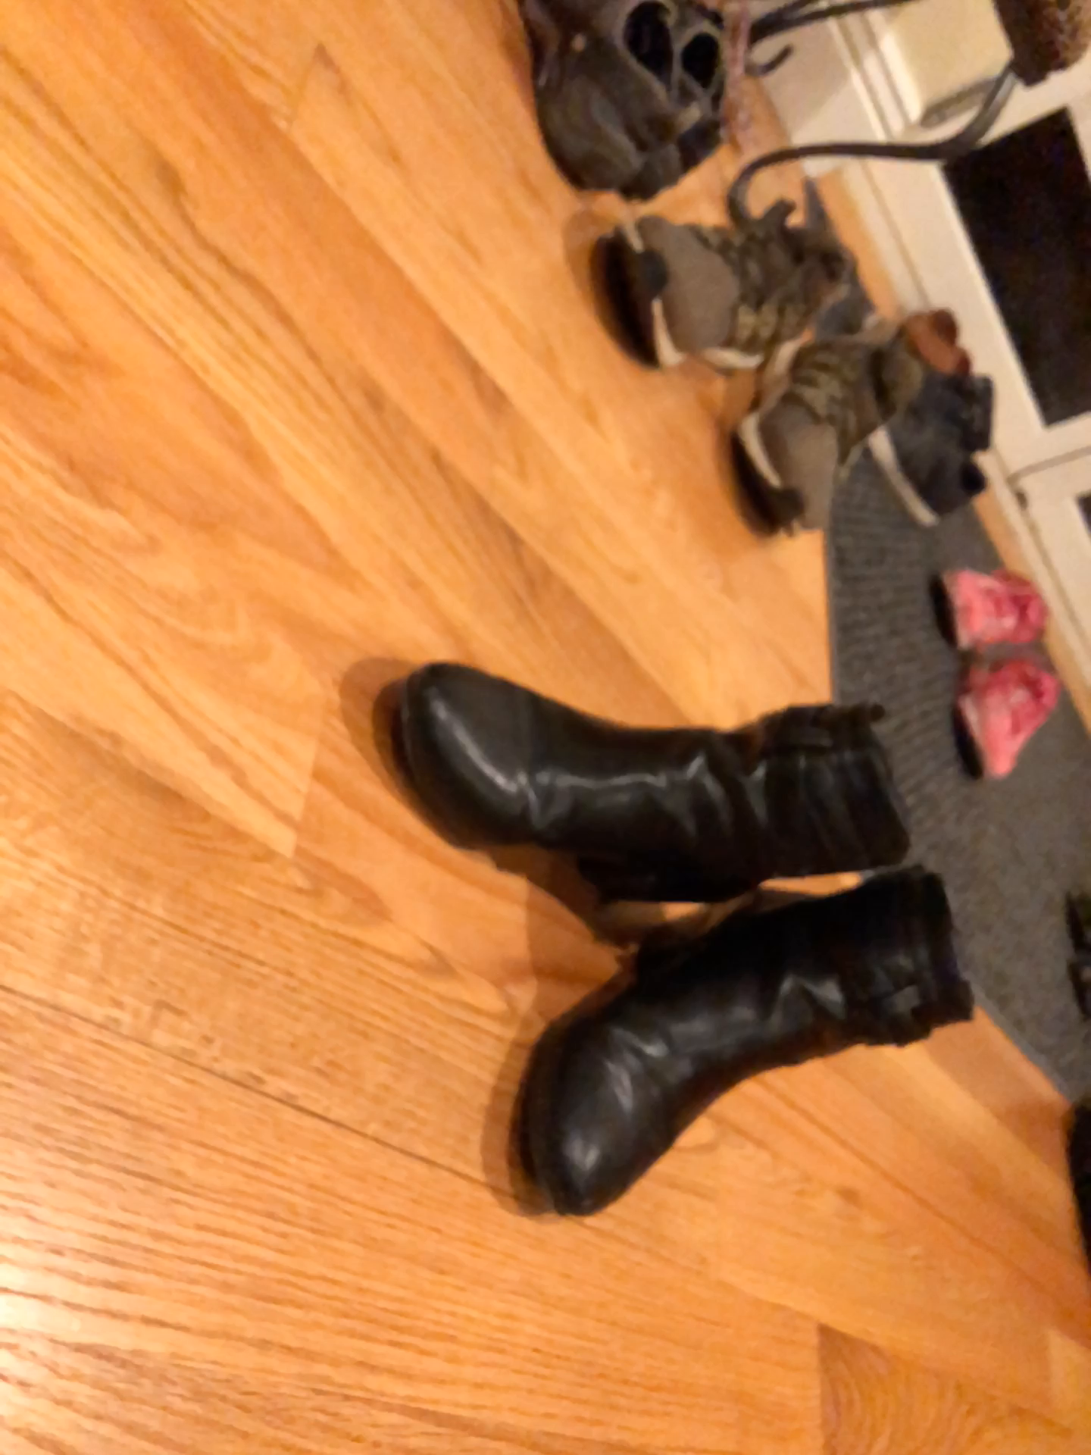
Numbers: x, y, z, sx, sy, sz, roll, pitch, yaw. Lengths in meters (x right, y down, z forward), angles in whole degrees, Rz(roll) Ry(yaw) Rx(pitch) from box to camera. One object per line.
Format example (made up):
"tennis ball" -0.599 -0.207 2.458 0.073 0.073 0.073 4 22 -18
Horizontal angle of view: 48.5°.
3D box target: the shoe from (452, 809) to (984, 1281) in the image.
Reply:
"shoe" 0.096 0.142 0.576 0.227 0.172 0.090 -39 110 -58

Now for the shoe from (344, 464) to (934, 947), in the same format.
"shoe" 0.053 0.009 0.564 0.227 0.172 0.090 39 44 -44
